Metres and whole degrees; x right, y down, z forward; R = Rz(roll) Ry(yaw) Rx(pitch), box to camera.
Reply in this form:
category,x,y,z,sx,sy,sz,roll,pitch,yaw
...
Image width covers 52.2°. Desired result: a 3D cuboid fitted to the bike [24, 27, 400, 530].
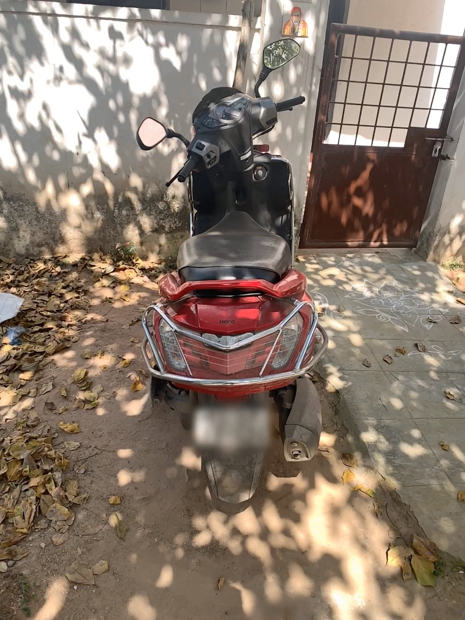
category,x,y,z,sx,sy,sz,roll,pitch,yaw
bike,-0.195,-0.353,1.910,0.735,1.155,1.768,0,33,-8
